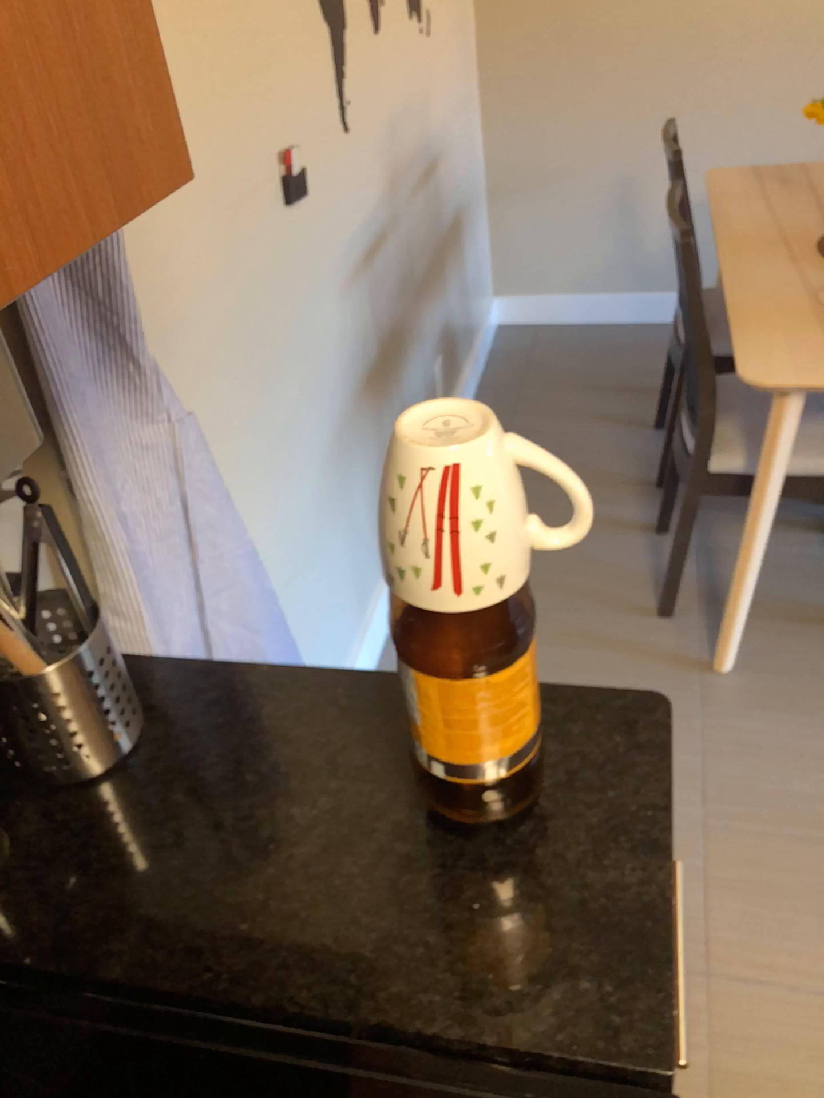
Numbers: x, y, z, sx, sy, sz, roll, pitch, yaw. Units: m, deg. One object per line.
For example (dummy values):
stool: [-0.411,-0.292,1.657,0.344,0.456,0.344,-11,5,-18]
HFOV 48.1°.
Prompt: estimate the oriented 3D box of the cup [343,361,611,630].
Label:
cup: [0.040,-0.037,0.585,0.140,0.109,0.100,-12,34,-5]
